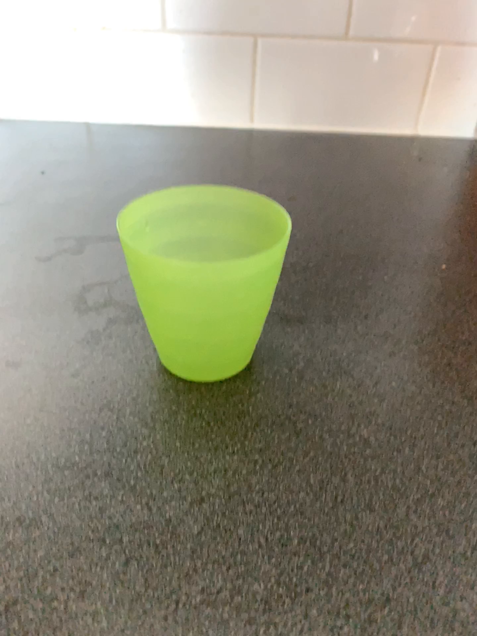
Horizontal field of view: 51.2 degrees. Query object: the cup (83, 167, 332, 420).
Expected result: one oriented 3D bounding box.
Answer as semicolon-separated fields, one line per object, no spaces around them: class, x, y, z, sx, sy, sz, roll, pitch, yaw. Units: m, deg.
cup;-0.018;-0.018;0.258;0.090;0.080;0.078;-20;44;-27
